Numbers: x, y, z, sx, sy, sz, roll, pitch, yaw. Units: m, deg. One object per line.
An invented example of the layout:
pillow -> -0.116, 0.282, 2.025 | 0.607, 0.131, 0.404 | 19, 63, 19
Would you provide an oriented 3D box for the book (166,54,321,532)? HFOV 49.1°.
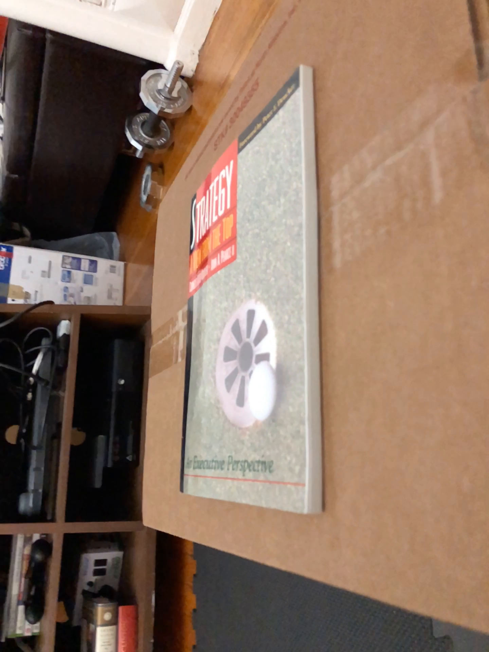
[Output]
book -> -0.010, -0.008, 0.342 | 0.181, 0.020, 0.240 | 152, 122, -63
